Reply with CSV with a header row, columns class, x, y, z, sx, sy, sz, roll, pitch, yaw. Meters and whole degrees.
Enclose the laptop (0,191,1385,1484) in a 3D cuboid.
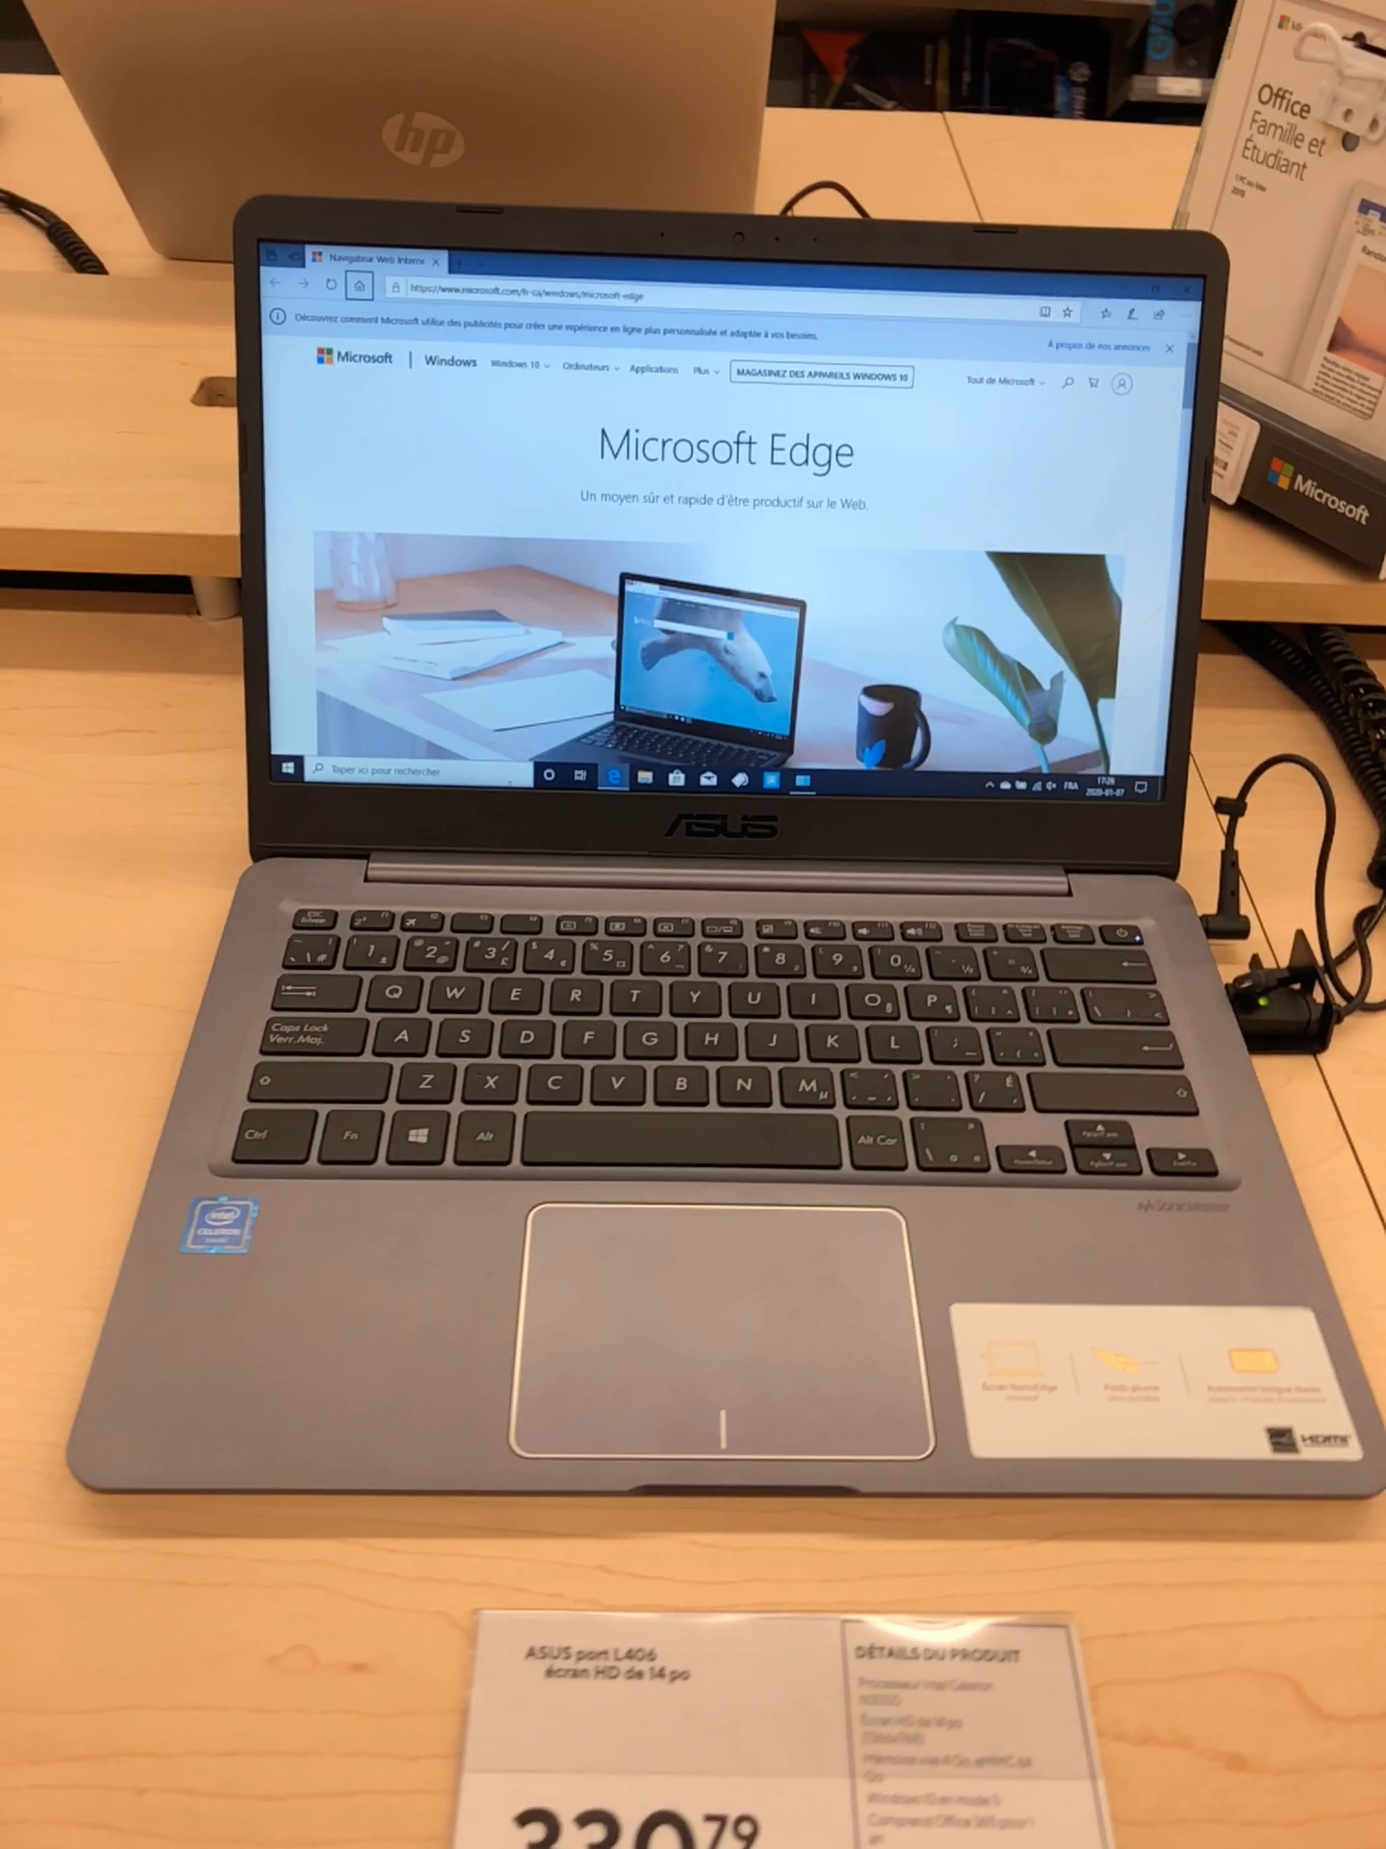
class,x,y,z,sx,sy,sz,roll,pitch,yaw
laptop,0.013,-0.045,0.424,0.309,0.172,0.328,1,45,-2
